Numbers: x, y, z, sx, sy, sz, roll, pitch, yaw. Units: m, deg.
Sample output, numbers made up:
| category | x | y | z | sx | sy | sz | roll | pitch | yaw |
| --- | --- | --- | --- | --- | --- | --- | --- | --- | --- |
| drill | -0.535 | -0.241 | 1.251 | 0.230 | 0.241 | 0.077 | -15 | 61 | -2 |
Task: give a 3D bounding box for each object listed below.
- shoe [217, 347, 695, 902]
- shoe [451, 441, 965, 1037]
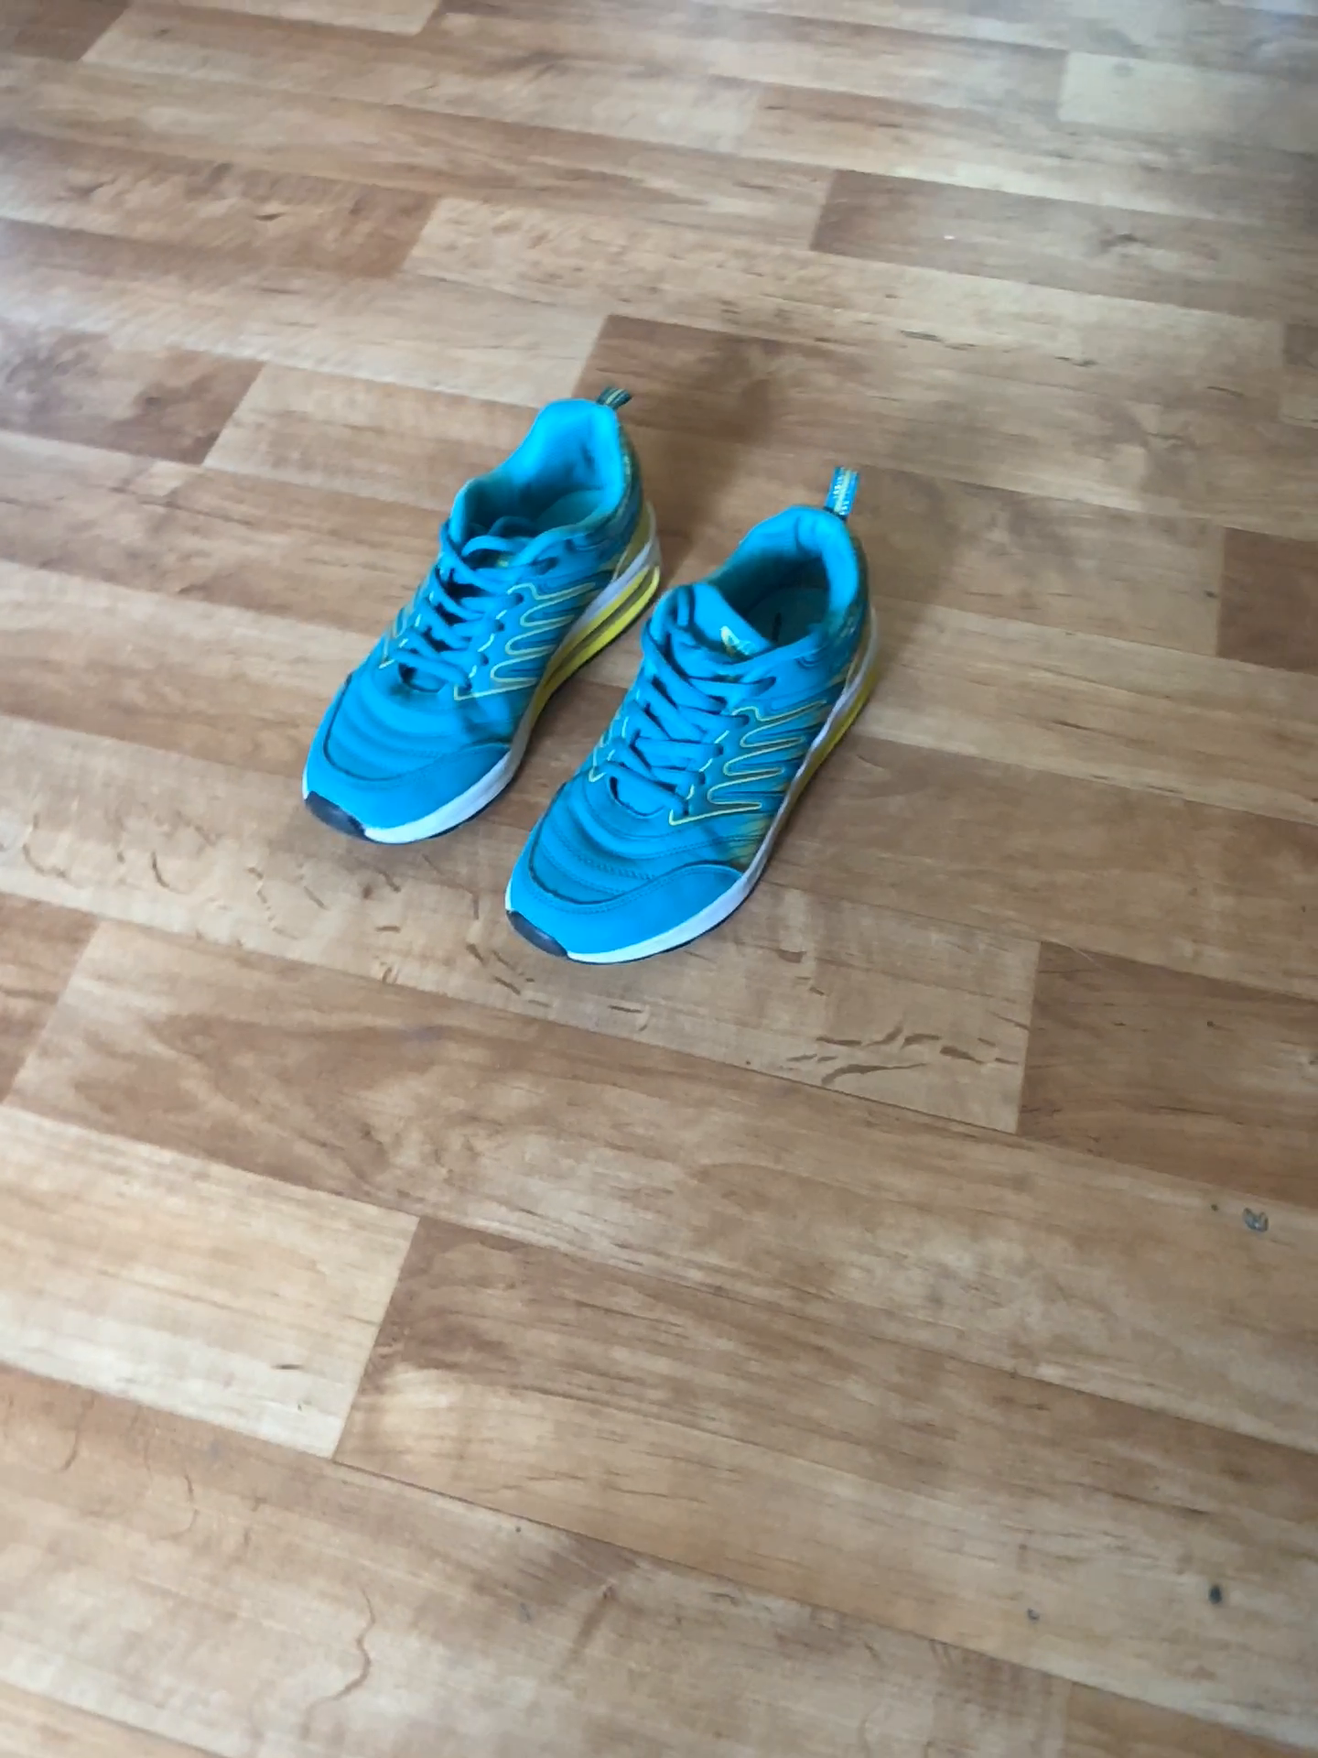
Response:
| category | x | y | z | sx | sy | sz | roll | pitch | yaw |
| --- | --- | --- | --- | --- | --- | --- | --- | --- | --- |
| shoe | -0.087 | -0.126 | 0.659 | 0.100 | 0.120 | 0.230 | 29 | 63 | 12 |
| shoe | 0.027 | -0.067 | 0.626 | 0.100 | 0.120 | 0.240 | 32 | 65 | 16 |
